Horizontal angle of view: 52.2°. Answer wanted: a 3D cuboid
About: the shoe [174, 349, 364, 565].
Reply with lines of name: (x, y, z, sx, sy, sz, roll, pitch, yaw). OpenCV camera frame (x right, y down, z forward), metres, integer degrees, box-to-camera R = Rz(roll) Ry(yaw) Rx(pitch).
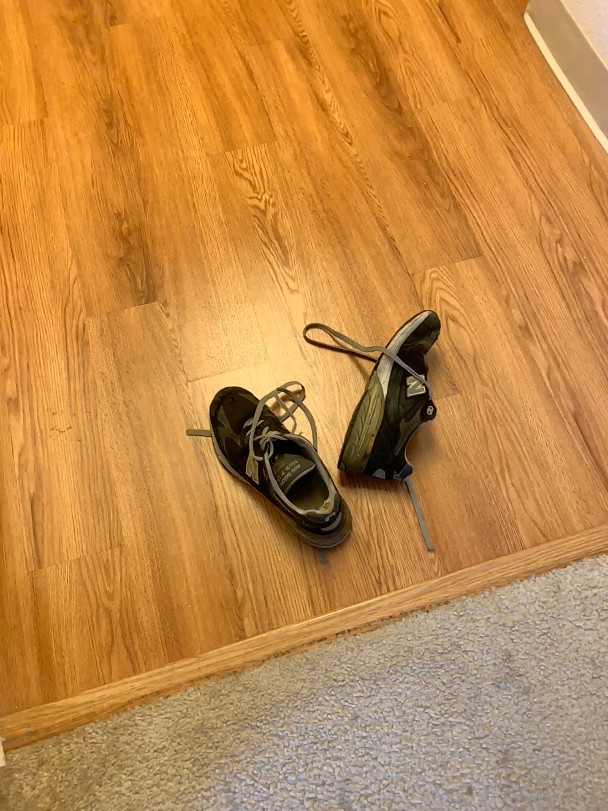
shoe: (-0.059, 0.089, 1.039, 0.120, 0.170, 0.320, -38, 72, -15)

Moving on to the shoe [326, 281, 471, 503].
shoe: (0.160, -0.026, 1.014, 0.120, 0.130, 0.320, 18, 68, 19)
